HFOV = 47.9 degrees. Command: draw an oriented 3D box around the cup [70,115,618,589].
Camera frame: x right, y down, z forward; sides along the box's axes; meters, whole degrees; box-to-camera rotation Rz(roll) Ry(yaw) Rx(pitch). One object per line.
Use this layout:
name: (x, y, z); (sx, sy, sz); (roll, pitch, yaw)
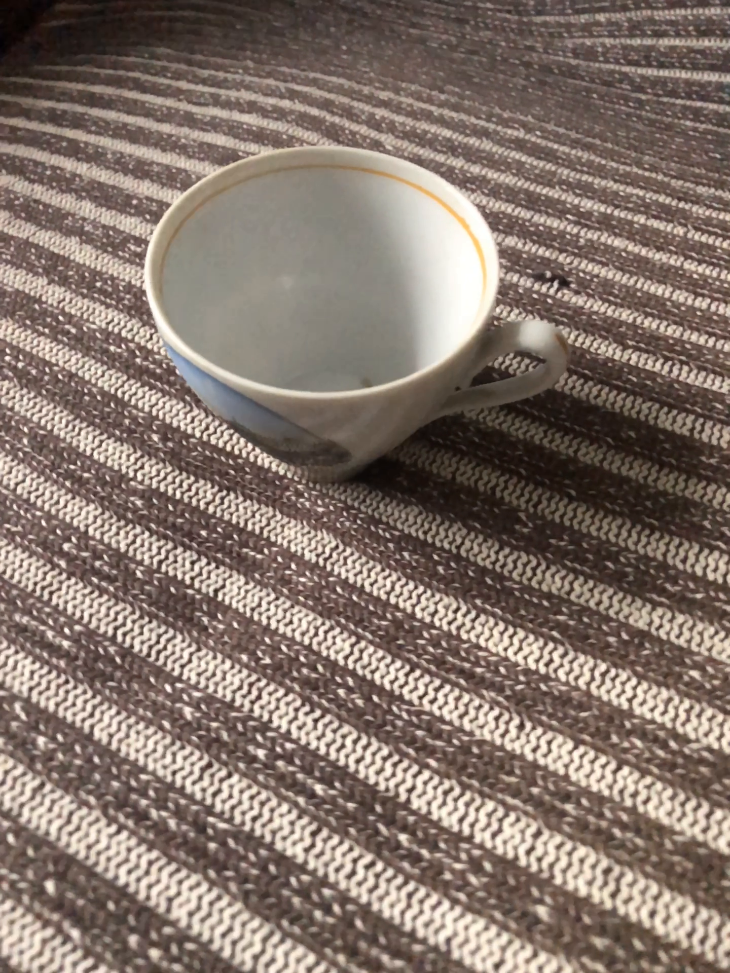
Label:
cup: (-0.001, -0.028, 0.162); (0.079, 0.042, 0.061); (19, 62, 11)
